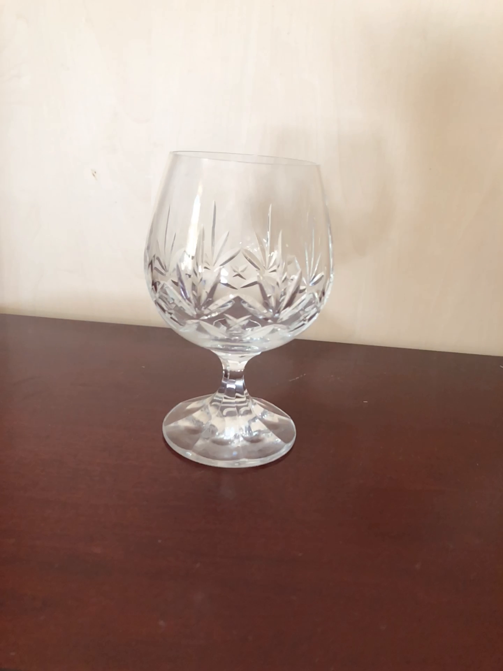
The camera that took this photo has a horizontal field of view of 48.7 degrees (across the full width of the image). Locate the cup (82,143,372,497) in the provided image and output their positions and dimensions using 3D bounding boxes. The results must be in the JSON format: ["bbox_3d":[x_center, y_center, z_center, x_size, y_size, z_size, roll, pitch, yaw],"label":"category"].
[{"bbox_3d":[-0.013,-0.017,0.256,0.087,0.126,0.089,4,18,-1],"label":"cup"}]
